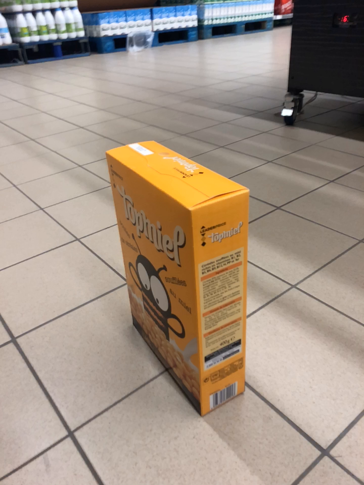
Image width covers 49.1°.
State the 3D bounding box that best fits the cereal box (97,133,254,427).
[{"bbox_3d":[-0.012,0.035,0.464,0.060,0.268,0.210,-19,34,-25],"label":"cereal box"}]
